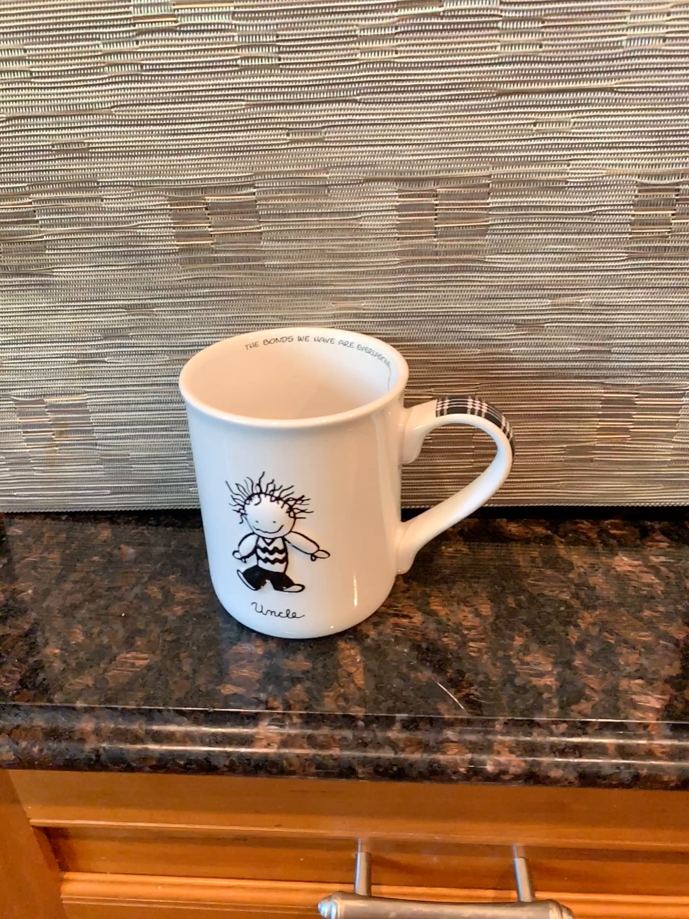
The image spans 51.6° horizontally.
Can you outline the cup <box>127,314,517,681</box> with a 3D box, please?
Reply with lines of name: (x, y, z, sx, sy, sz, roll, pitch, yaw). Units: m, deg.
cup: (-0.002, 0.010, 0.304, 0.130, 0.109, 0.101, 4, 31, 8)
